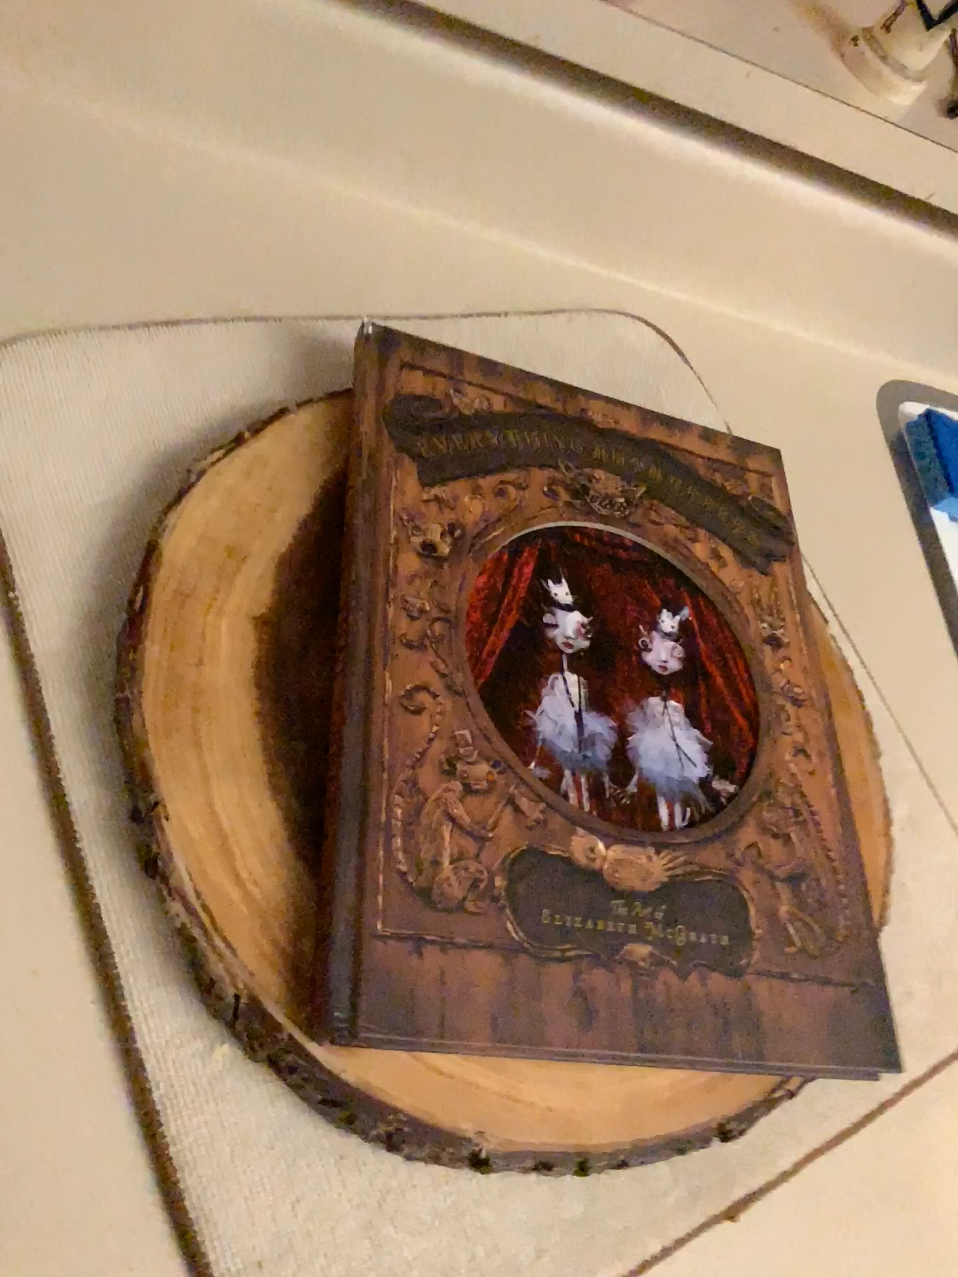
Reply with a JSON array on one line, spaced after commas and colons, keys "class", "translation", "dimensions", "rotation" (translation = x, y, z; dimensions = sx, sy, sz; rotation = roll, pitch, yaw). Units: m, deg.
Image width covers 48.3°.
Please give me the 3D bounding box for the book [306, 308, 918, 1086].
[{"class": "book", "translation": [0.052, 0.014, 0.445], "dimensions": [0.230, 0.020, 0.310], "rotation": [12, 57, -21]}]
